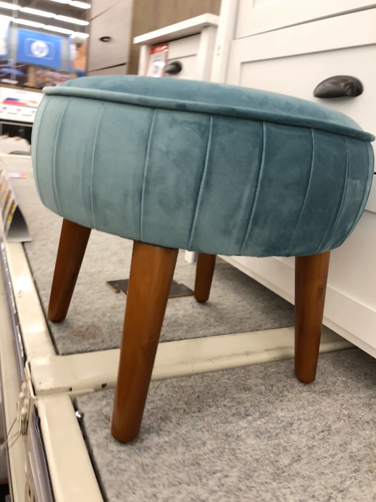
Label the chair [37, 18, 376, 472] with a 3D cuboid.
[{"bbox_3d":[0.009,-0.033,0.592,0.370,0.399,0.371,0,17,-26],"label":"chair"}]
